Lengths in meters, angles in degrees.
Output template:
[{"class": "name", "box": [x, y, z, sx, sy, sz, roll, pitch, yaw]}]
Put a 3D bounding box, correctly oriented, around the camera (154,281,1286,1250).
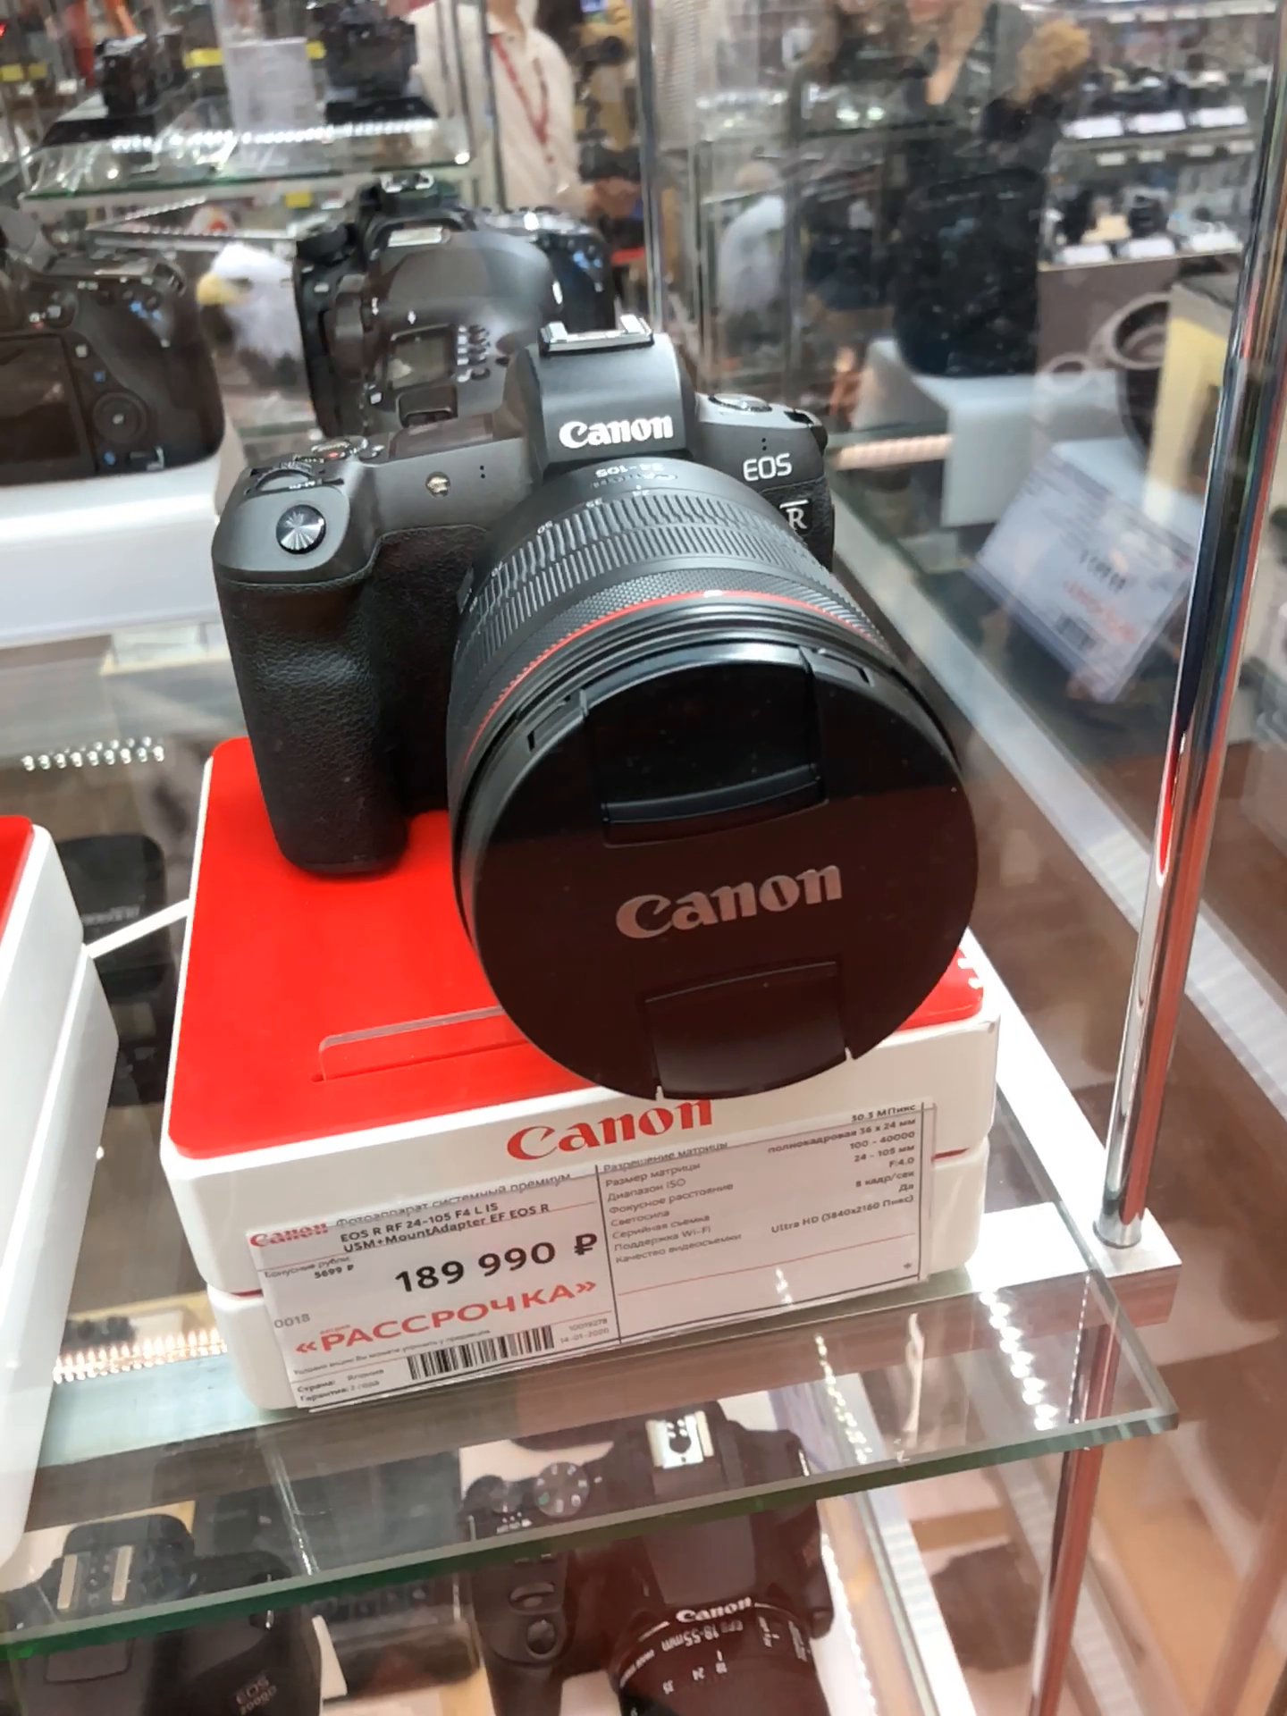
[{"class": "camera", "box": [0.000, -0.038, 0.275, 0.144, 0.093, 0.181, -9, 33, -7]}]
